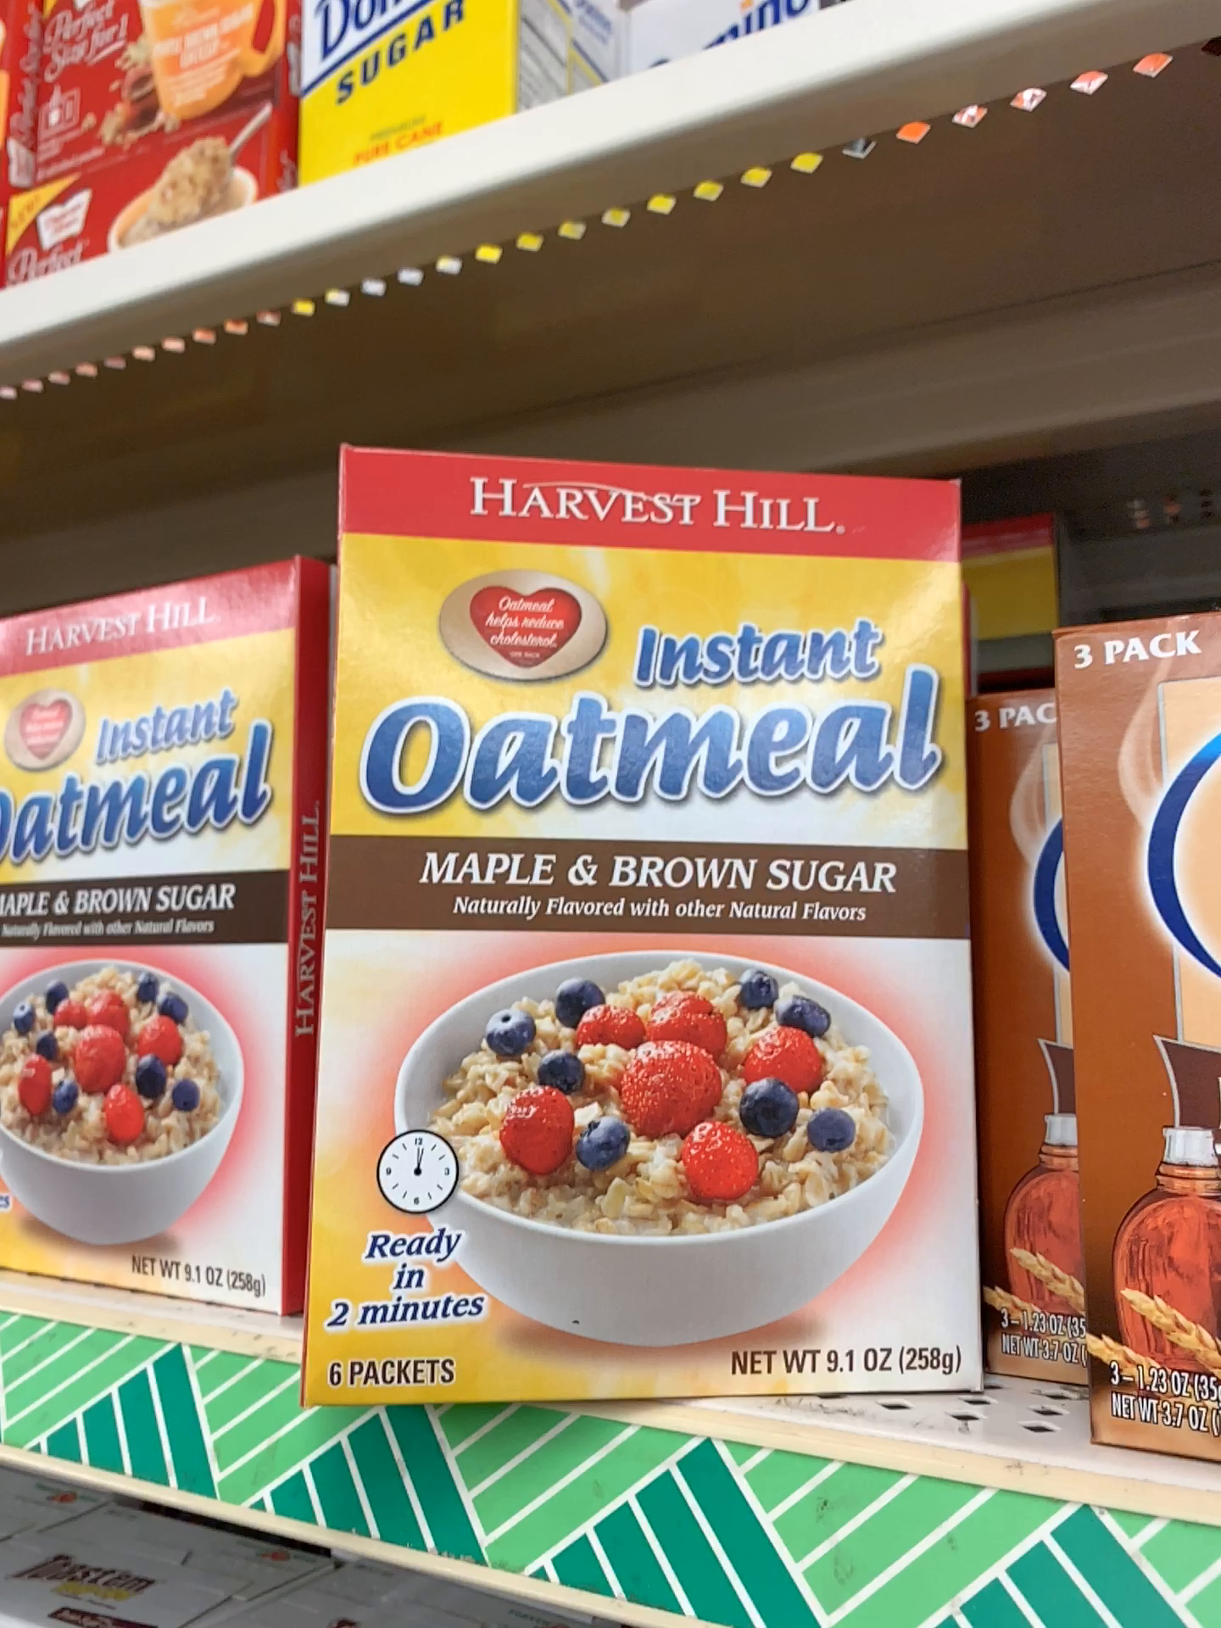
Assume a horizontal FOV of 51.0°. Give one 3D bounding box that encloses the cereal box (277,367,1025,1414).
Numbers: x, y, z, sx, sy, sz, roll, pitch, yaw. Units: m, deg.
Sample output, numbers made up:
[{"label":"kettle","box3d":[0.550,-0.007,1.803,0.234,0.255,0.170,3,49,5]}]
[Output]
[{"label":"cereal box","box3d":[0.007,0.013,0.255,0.130,0.180,0.050,2,-9,-10]}]
